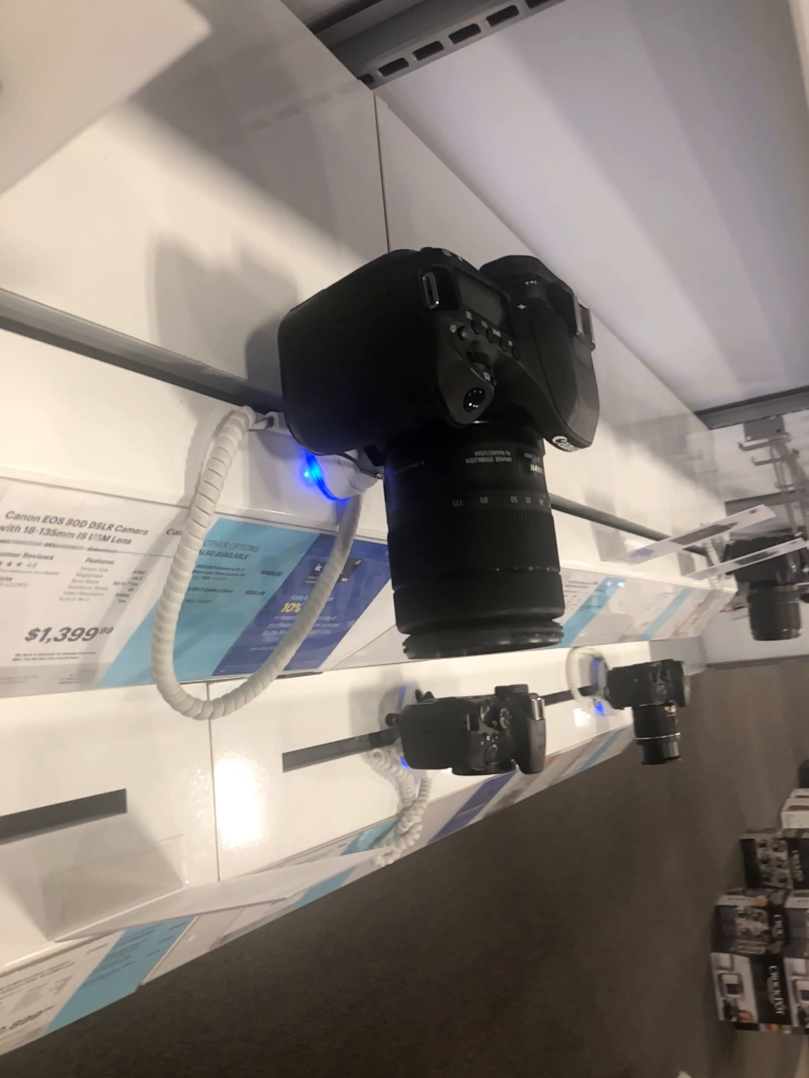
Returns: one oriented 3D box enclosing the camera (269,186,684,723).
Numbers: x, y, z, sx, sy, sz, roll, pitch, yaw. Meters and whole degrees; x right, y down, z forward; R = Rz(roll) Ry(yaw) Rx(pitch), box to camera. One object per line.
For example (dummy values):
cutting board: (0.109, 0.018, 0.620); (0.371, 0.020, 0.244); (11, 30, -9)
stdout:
camera: (0.038, -0.022, 0.394); (0.151, 0.109, 0.180); (8, 73, -61)
